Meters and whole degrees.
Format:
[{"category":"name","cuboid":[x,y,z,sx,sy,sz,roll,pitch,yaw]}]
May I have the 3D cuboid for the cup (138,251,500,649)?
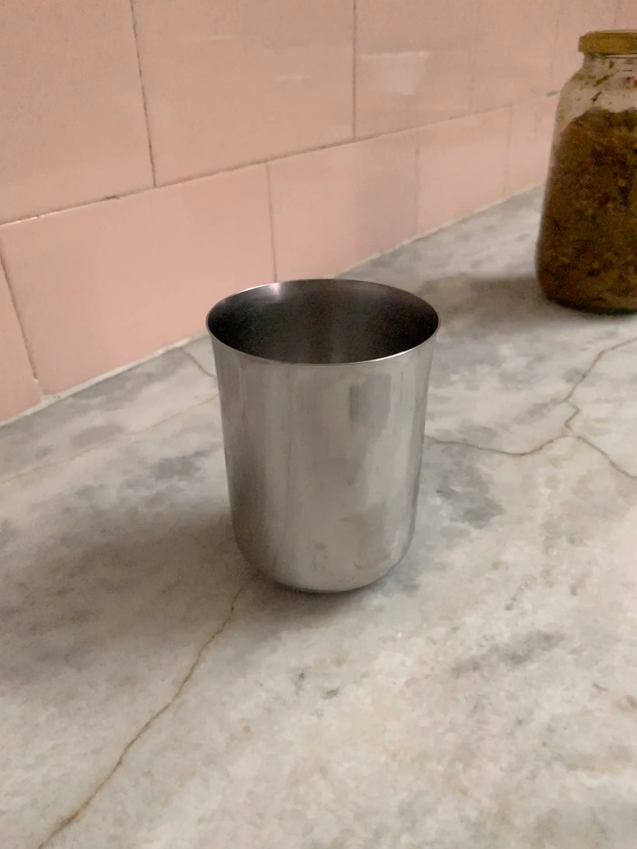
[{"category":"cup","cuboid":[0.000,0.001,0.228,0.080,0.090,0.080,-1,31,1]}]
